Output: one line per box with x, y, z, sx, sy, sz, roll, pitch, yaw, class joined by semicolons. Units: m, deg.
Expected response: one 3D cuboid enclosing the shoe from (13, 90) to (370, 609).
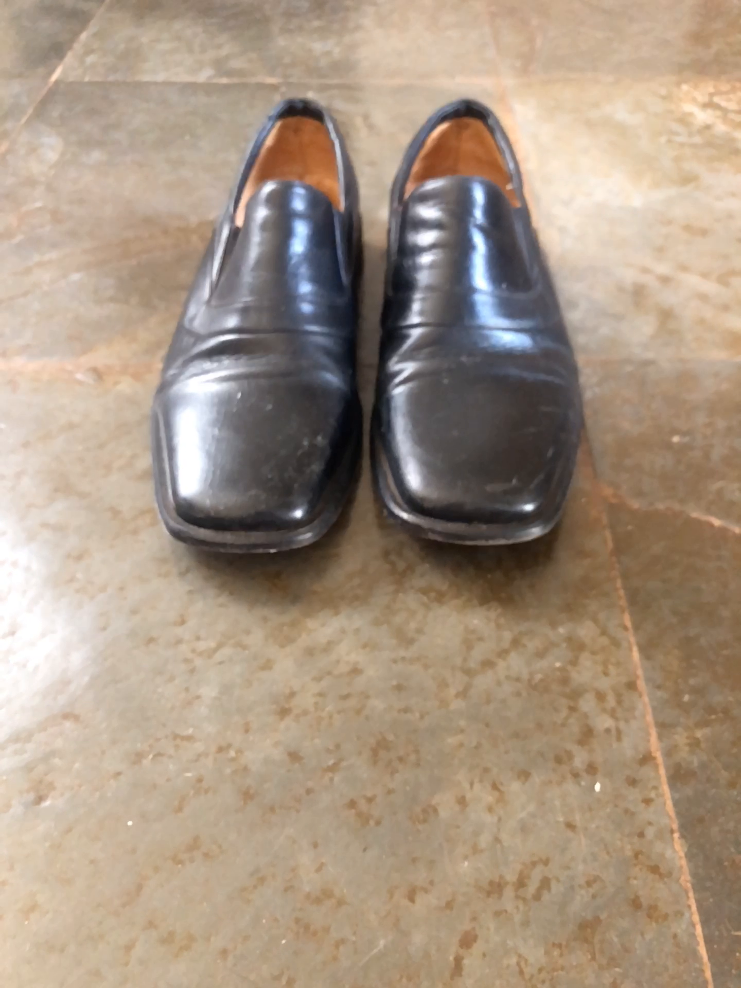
-0.061;-0.091;0.416;0.110;0.109;0.282;1;47;2;shoe

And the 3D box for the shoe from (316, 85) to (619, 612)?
0.039;-0.091;0.410;0.100;0.109;0.282;1;47;2;shoe
